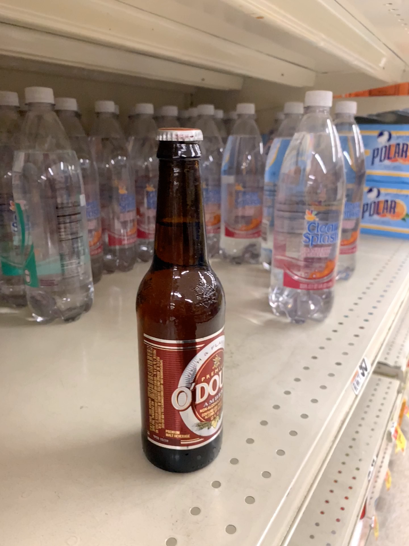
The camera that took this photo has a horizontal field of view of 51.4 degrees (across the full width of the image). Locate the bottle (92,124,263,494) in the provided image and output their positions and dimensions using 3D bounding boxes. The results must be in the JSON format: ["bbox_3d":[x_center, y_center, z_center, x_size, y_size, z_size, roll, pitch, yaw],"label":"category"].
[{"bbox_3d":[-0.017,0.019,0.281,0.070,0.219,0.070,1,18,0],"label":"bottle"}]
